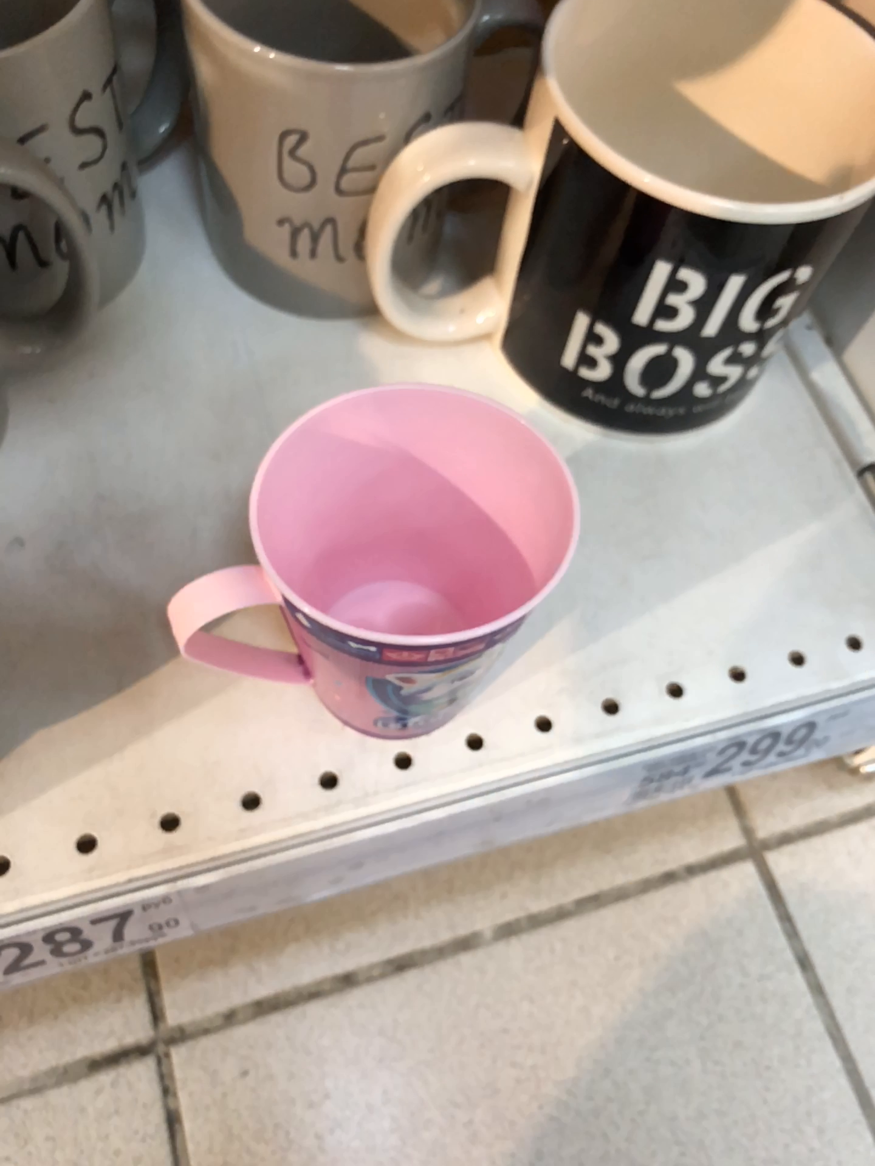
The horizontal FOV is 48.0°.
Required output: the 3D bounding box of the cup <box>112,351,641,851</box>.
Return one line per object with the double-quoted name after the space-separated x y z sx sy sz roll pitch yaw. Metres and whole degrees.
-0.021 0.009 0.288 0.108 0.105 0.078 -20 67 -17 "cup"
